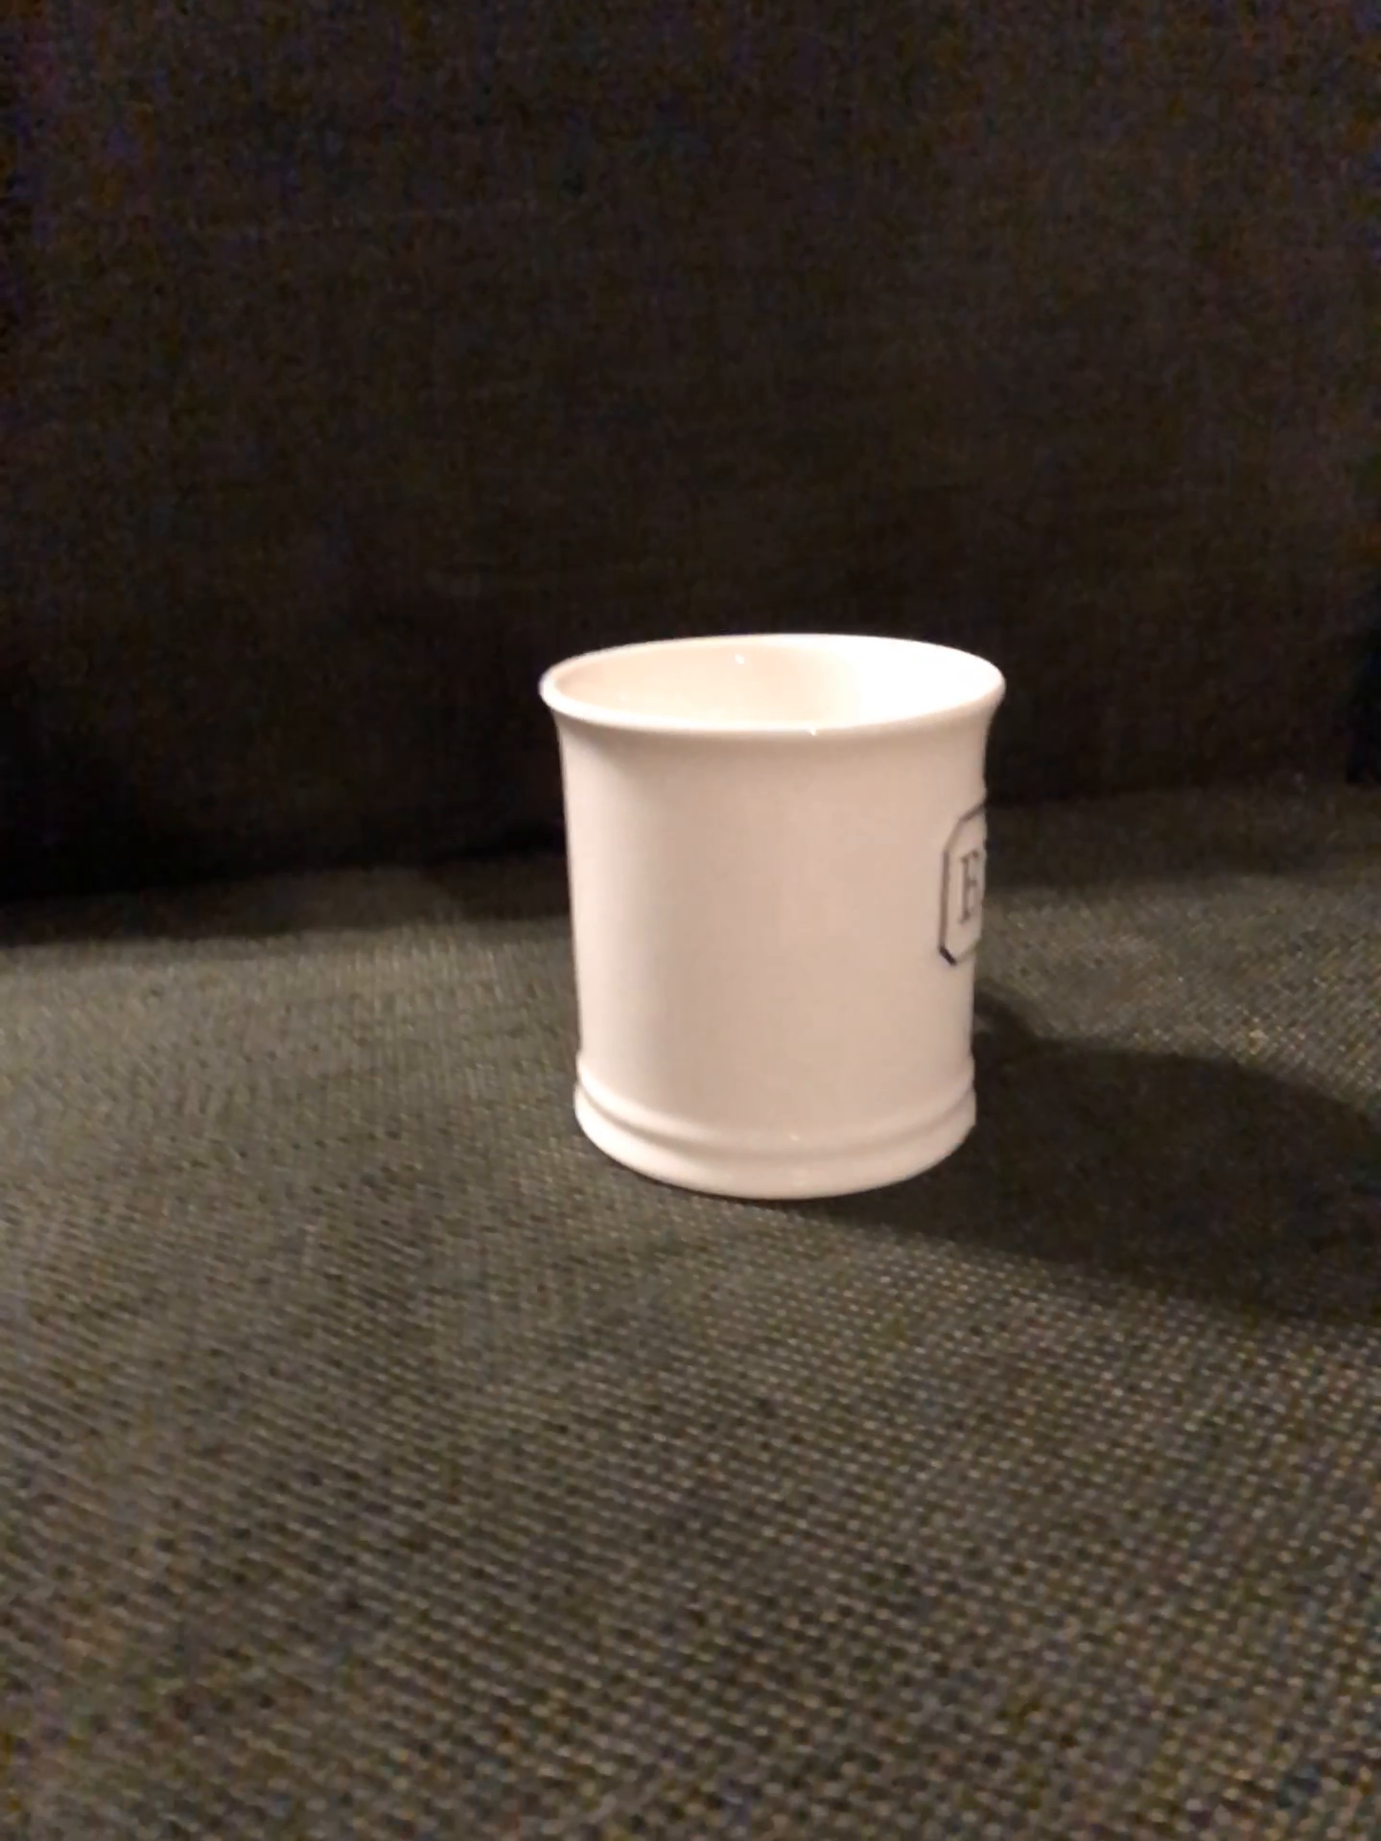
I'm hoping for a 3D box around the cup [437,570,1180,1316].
[{"bbox_3d":[0.013,-0.010,0.322,0.100,0.100,0.141,-8,22,-17],"label":"cup"}]
